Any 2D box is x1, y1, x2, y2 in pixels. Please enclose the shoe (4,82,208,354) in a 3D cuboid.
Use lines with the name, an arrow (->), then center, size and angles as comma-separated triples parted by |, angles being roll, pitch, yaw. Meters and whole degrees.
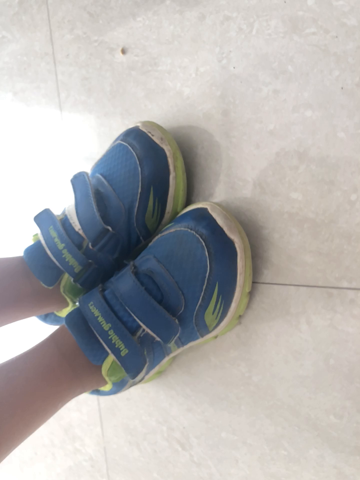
shoe -> -0.078, -0.008, 0.352 | 0.090, 0.060, 0.221 | 49, 125, 23

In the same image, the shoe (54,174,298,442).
shoe -> -0.020, 0.062, 0.327 | 0.090, 0.060, 0.221 | 50, 125, 22
